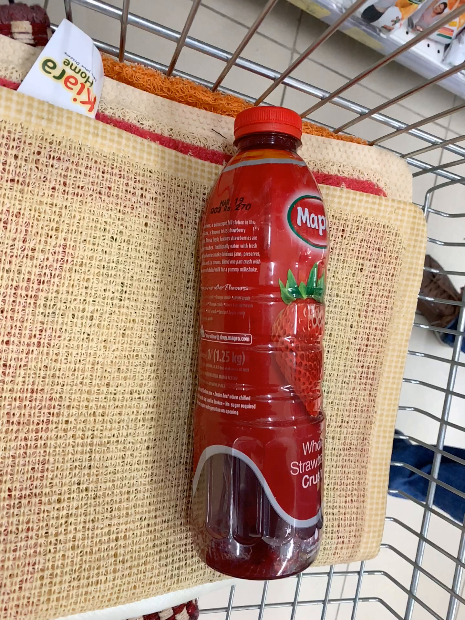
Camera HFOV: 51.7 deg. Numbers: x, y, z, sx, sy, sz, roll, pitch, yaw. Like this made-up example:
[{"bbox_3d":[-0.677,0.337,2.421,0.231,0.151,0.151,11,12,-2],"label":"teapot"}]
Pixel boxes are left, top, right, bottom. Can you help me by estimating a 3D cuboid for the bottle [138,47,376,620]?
[{"bbox_3d":[0.015,0.012,0.264,0.090,0.070,0.250,0,96,-51],"label":"bottle"}]
